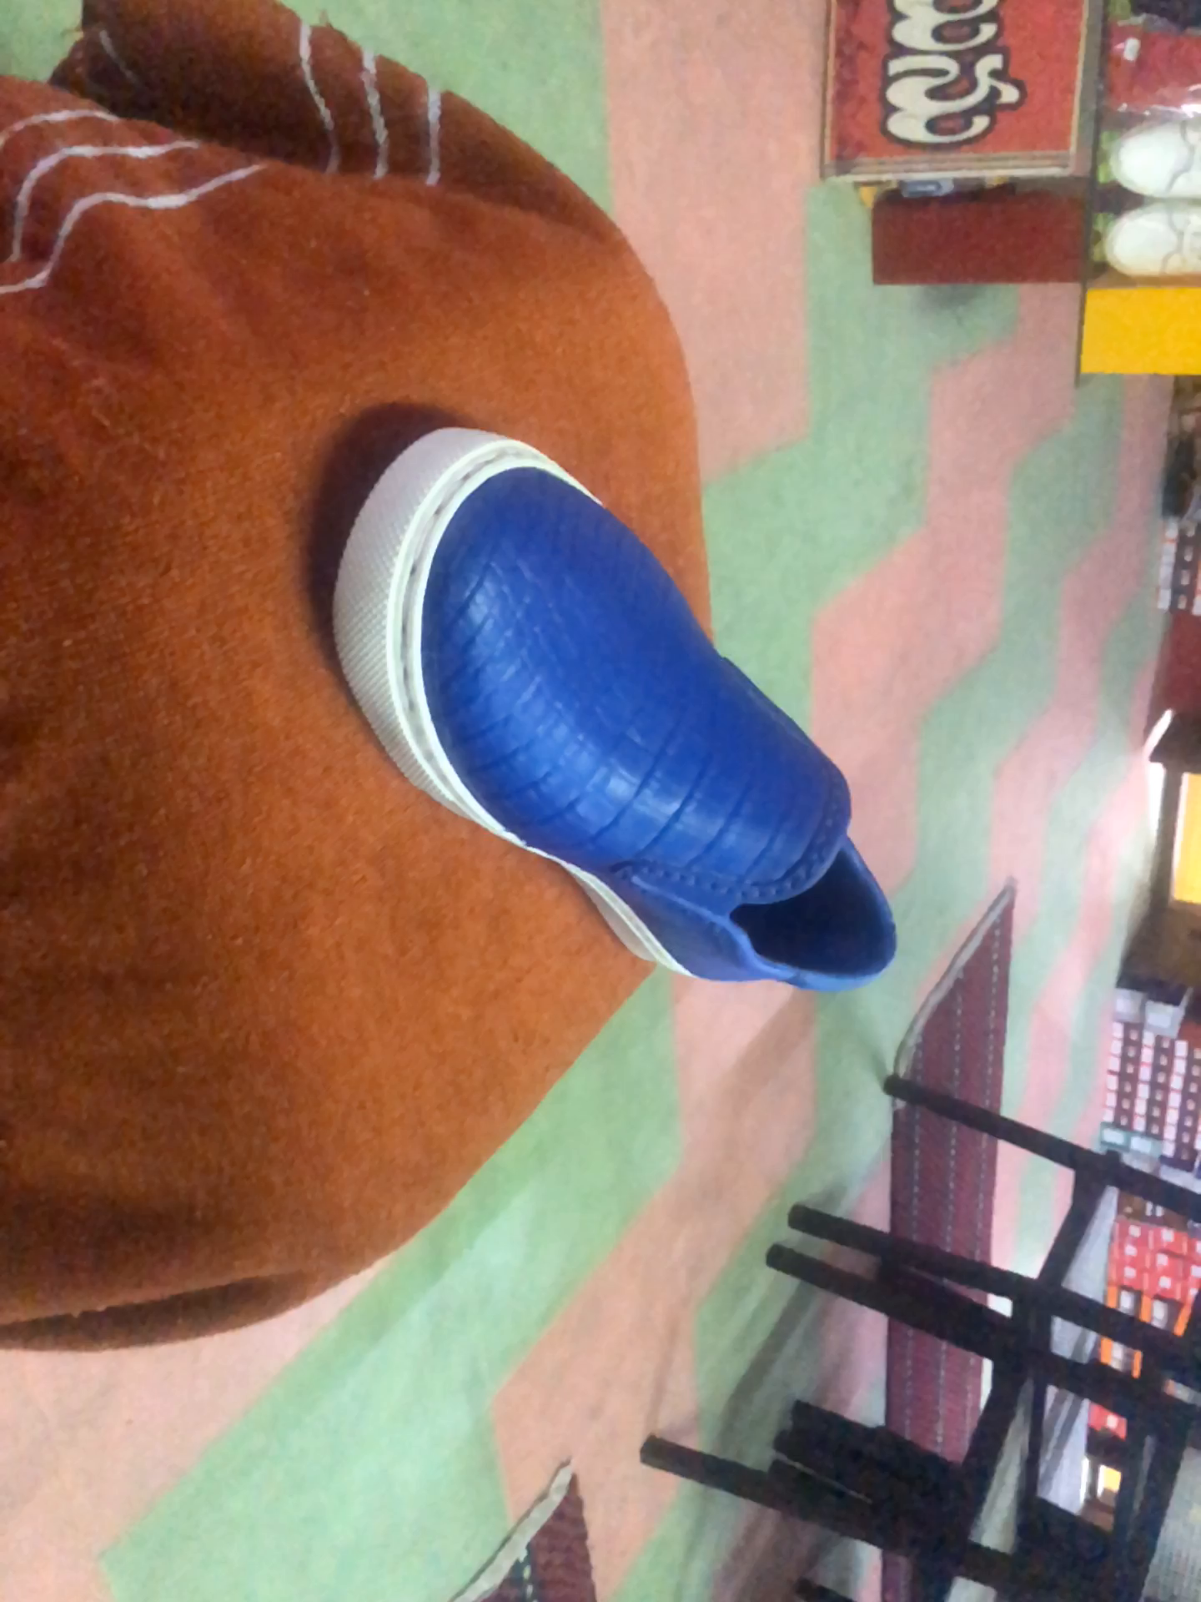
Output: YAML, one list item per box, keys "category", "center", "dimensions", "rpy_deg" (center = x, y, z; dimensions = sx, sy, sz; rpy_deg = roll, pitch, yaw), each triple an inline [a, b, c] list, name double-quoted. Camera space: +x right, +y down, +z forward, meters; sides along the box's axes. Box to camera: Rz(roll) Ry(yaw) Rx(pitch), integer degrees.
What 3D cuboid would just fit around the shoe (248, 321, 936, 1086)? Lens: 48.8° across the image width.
- category: "shoe"
  center: [0.028, -0.008, 0.443]
  dimensions: [0.302, 0.079, 0.110]
  rpy_deg: [47, 60, -54]
